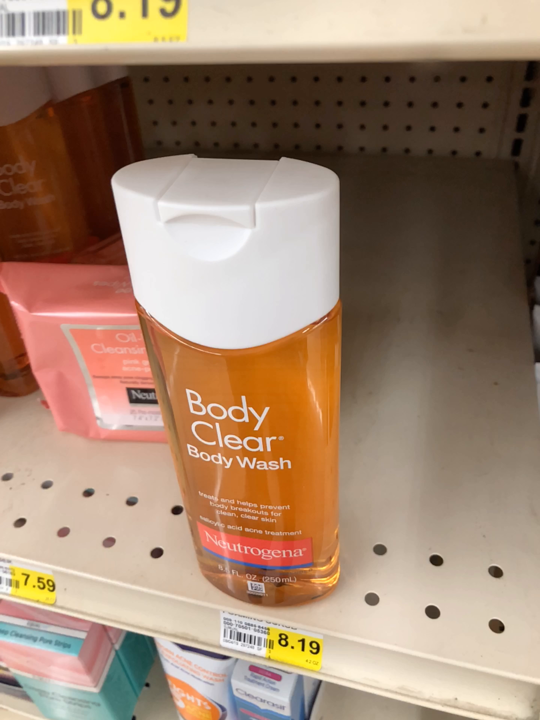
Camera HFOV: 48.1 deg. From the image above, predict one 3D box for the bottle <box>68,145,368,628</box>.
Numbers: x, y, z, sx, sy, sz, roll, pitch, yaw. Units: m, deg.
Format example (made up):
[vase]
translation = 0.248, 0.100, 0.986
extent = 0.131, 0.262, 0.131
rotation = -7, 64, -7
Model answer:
[bottle]
translation = -0.005, 0.024, 0.223
extent = 0.070, 0.190, 0.045
rotation = 7, 42, 15
